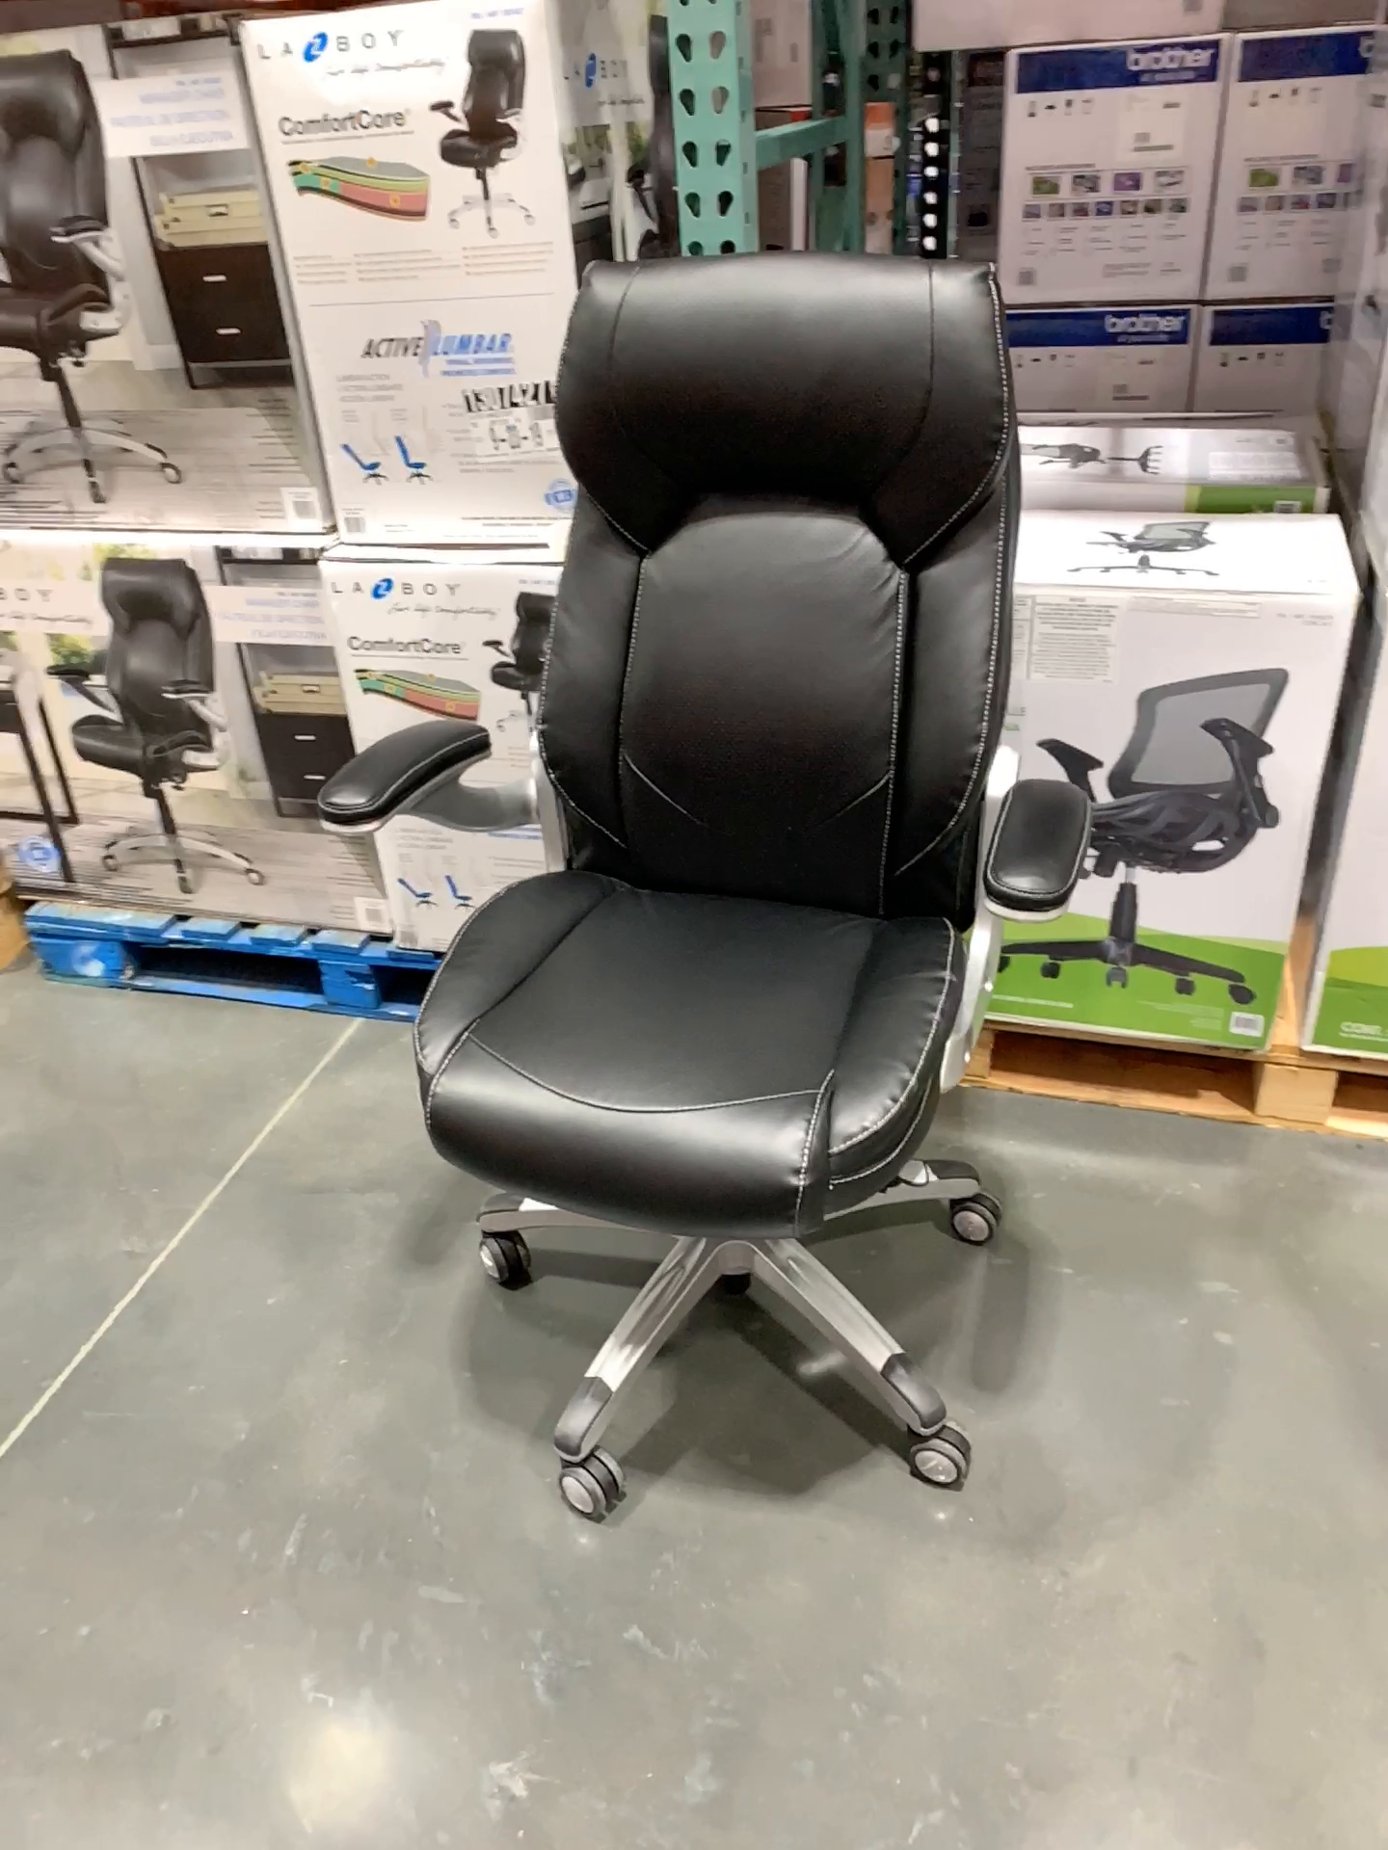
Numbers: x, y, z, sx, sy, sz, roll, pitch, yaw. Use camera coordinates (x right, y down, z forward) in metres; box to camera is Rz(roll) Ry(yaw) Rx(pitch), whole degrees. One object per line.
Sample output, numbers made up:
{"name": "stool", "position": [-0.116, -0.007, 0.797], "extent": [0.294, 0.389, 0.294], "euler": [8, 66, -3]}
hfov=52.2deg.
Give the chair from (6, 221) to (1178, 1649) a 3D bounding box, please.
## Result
{"name": "chair", "position": [0.018, -0.036, 1.430], "extent": [0.729, 1.128, 0.707], "euler": [8, 32, 19]}
